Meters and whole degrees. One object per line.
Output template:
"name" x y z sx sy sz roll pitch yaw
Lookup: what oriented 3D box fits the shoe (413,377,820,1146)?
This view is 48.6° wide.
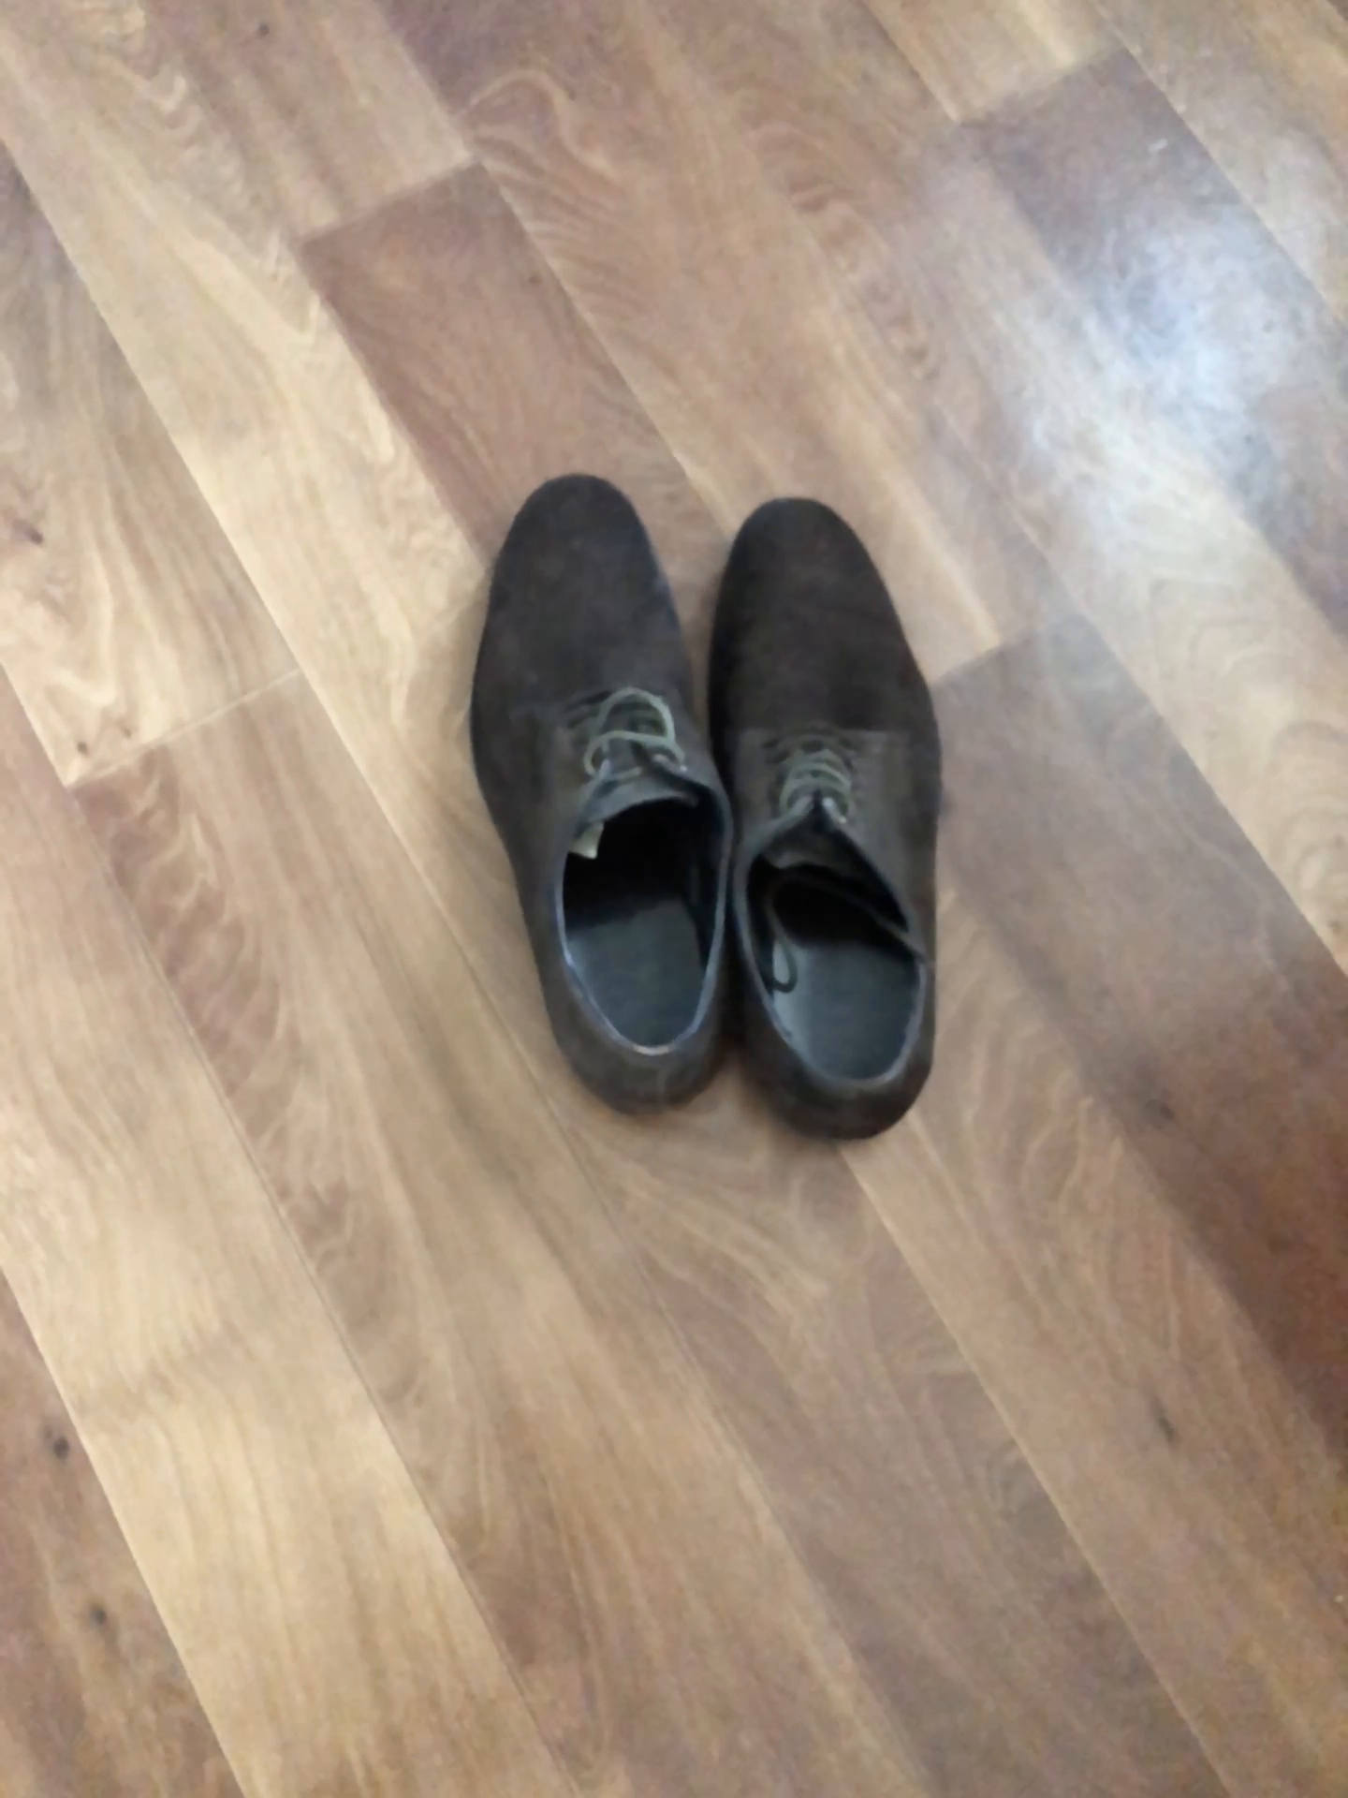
"shoe" -0.030 -0.060 0.660 0.120 0.100 0.311 -9 74 -4

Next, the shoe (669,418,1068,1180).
"shoe" 0.074 -0.043 0.655 0.120 0.100 0.311 -5 74 -3
